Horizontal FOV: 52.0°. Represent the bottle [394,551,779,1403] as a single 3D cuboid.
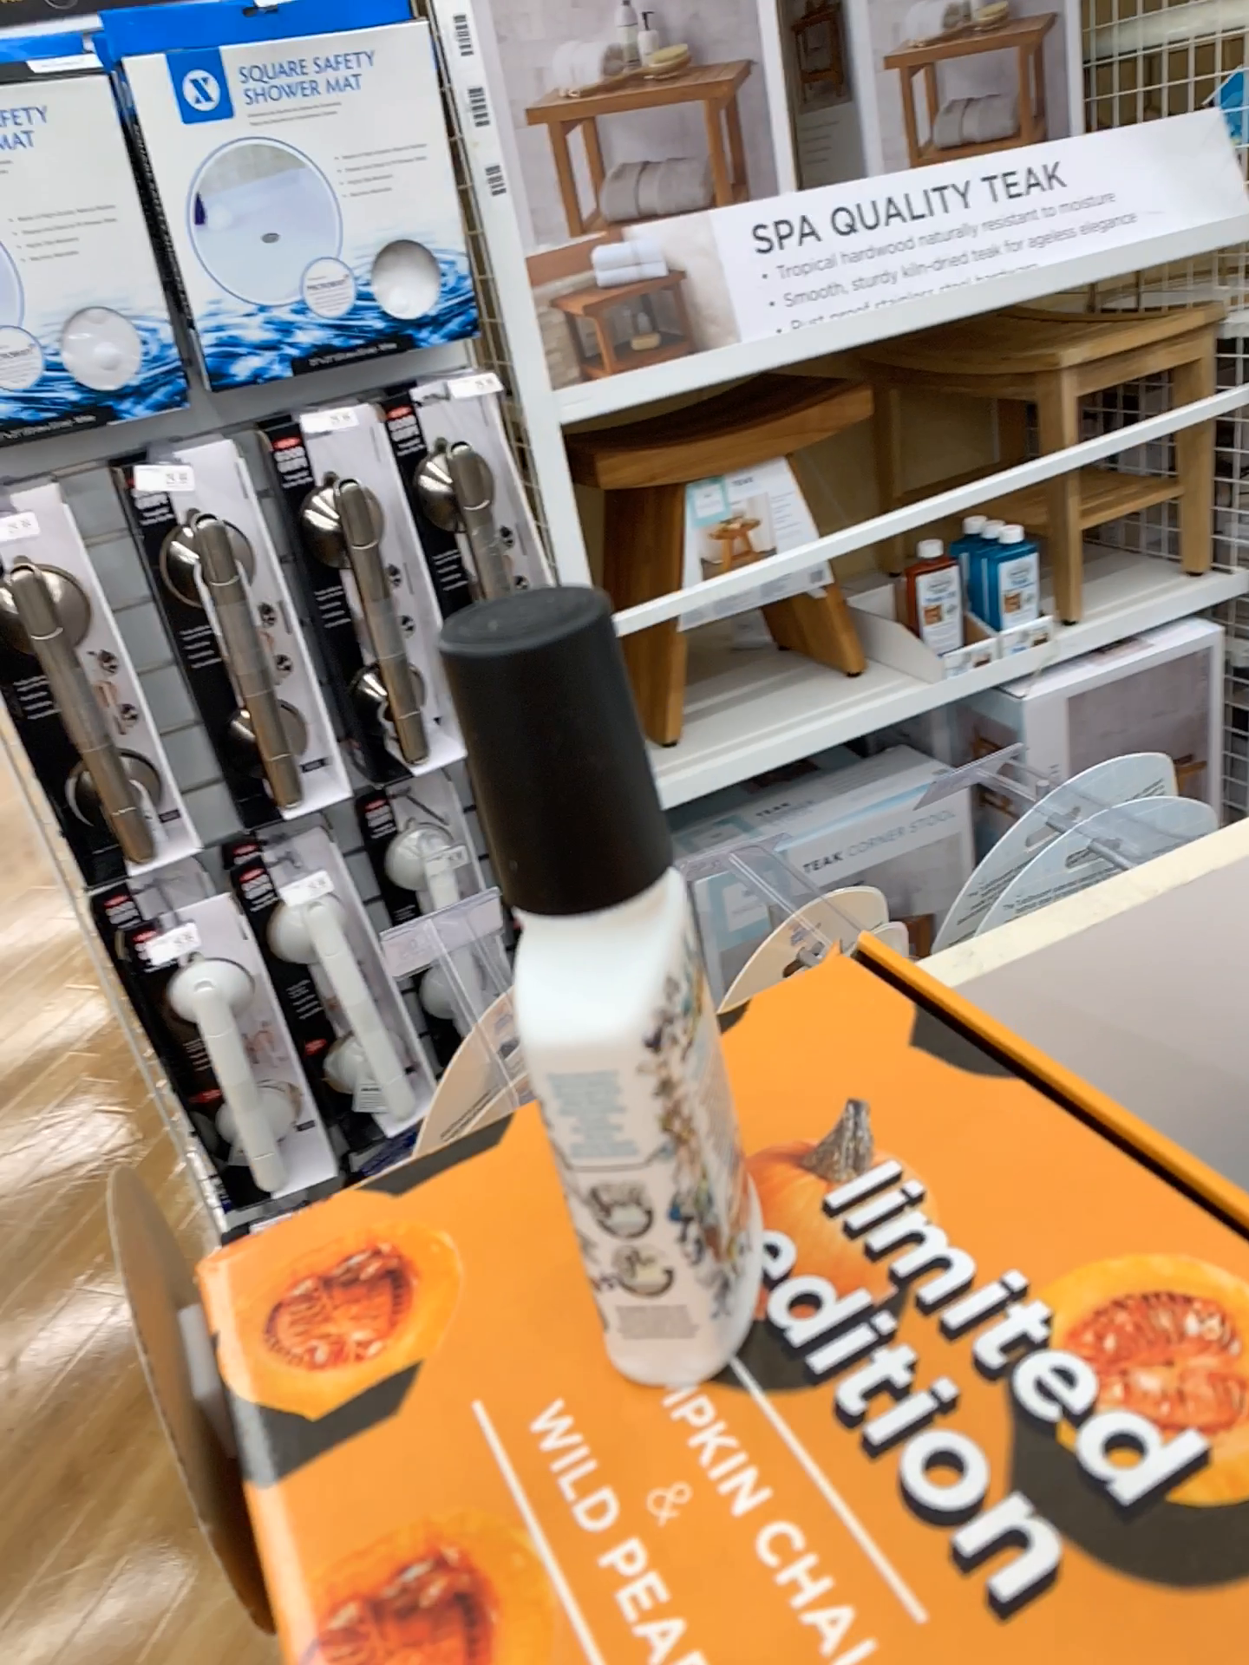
[{"bbox_3d":[0.001,0.032,0.239,0.033,0.151,0.055,-5,28,13],"label":"bottle"}]
